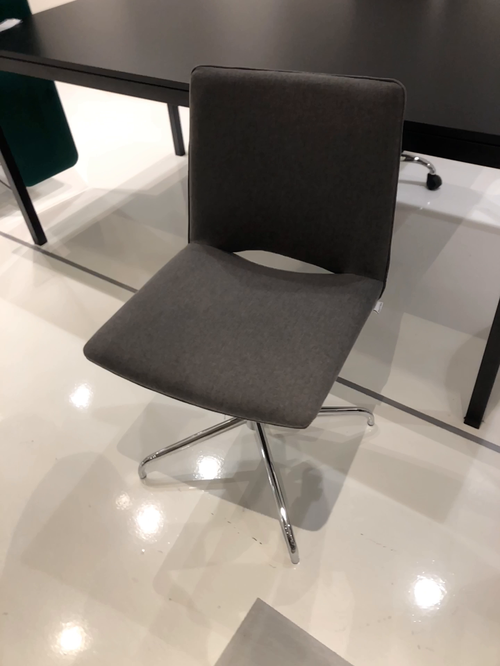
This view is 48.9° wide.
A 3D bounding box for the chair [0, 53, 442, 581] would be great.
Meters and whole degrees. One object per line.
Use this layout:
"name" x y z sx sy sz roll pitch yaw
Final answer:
"chair" 0.010 -0.030 1.131 0.521 0.834 0.553 15 46 21
